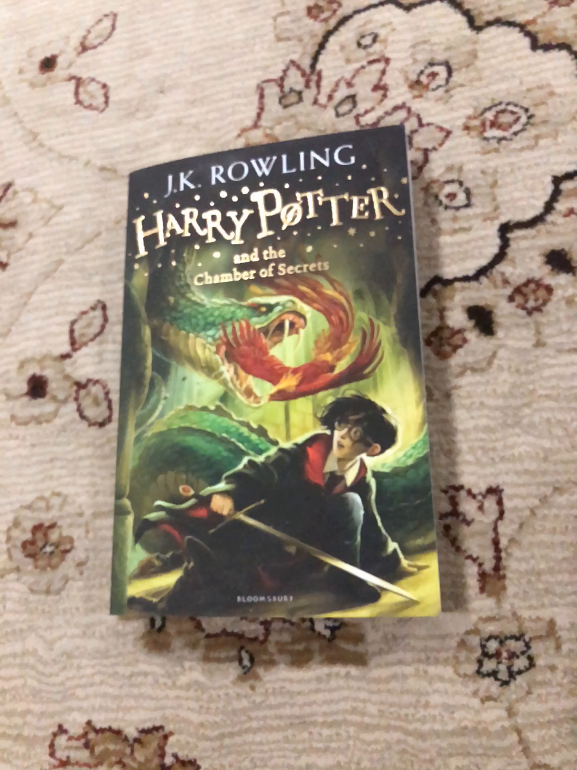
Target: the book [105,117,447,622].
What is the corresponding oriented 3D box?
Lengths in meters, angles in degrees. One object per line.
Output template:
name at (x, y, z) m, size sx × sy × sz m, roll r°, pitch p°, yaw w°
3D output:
book at (-0.008, -0.006, 0.278) m, size 0.131 × 0.030 × 0.200 m, roll -5°, pitch 75°, yaw 15°
